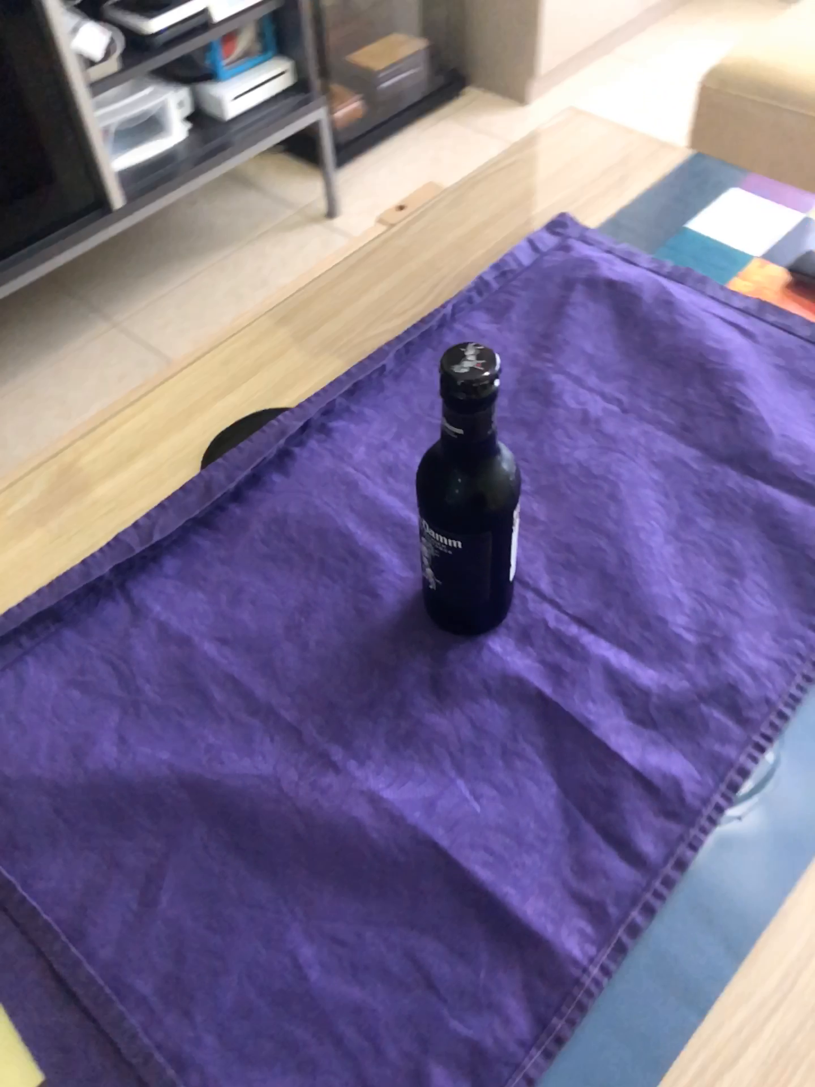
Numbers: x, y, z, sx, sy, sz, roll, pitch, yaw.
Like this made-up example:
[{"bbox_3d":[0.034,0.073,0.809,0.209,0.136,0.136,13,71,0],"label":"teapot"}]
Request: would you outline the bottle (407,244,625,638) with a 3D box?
[{"bbox_3d":[0.051,-0.043,0.478,0.070,0.199,0.070,-2,52,2],"label":"bottle"}]
